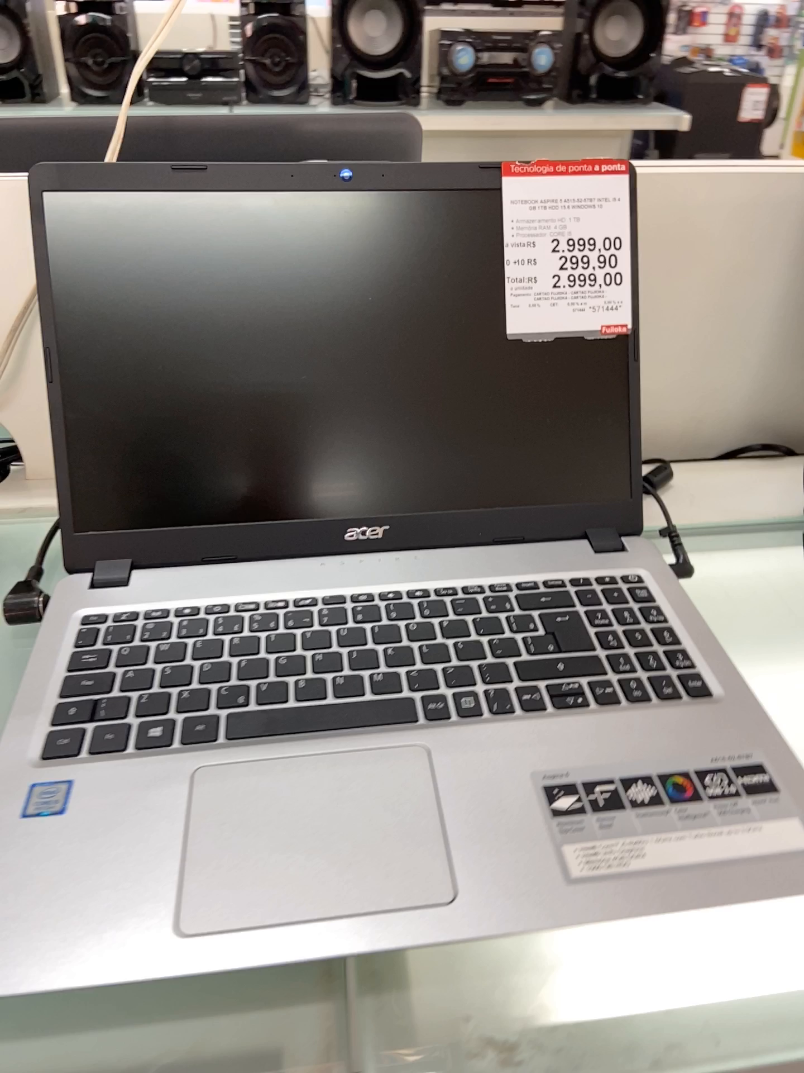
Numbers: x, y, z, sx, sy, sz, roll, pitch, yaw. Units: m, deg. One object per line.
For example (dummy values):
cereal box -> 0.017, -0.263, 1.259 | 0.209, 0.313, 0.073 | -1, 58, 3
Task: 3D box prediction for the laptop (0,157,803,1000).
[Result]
laptop -> -0.014, -0.039, 0.411 | 0.366, 0.205, 0.374 | -4, 35, -7
